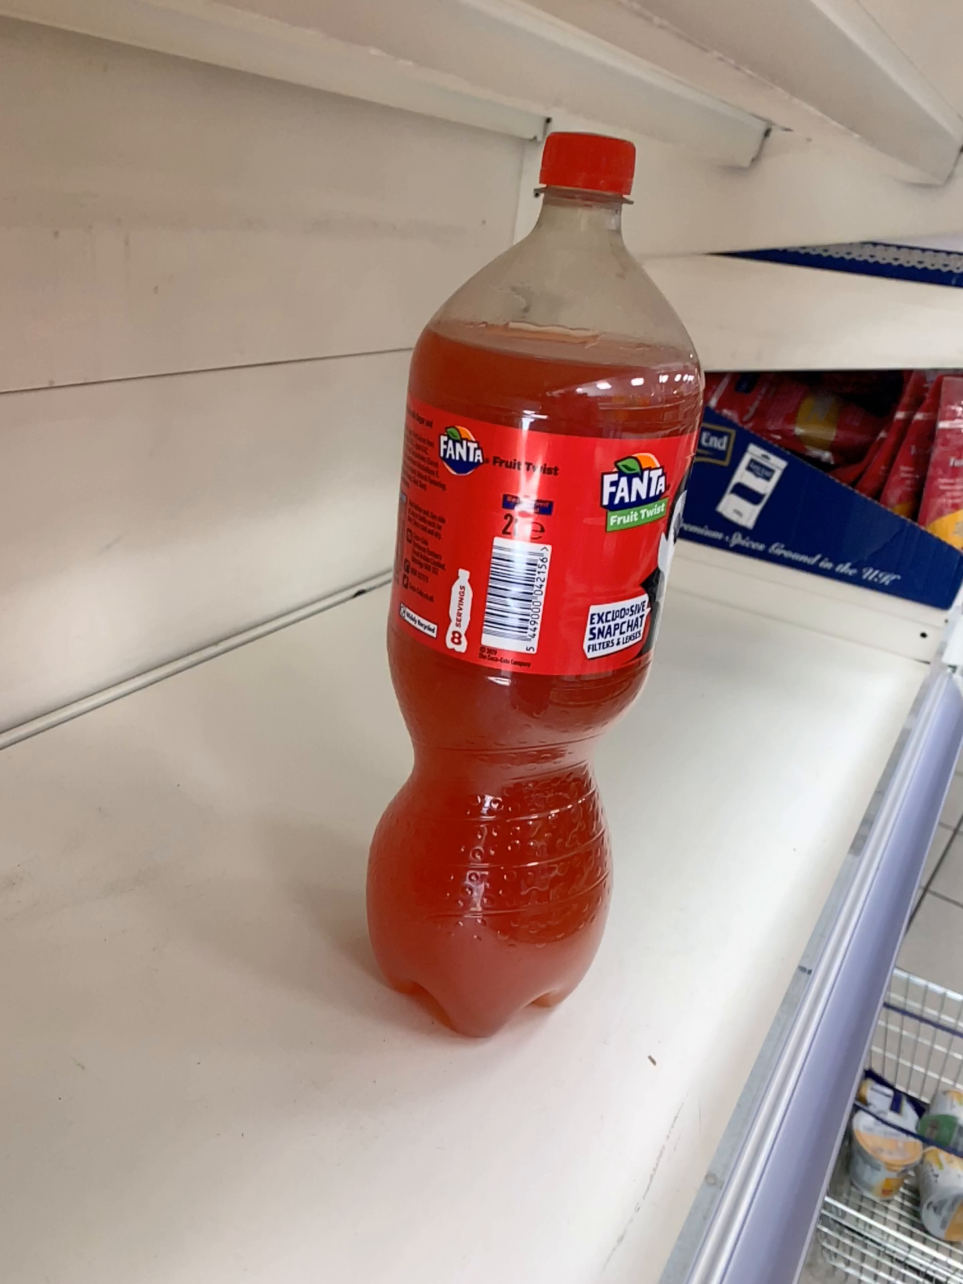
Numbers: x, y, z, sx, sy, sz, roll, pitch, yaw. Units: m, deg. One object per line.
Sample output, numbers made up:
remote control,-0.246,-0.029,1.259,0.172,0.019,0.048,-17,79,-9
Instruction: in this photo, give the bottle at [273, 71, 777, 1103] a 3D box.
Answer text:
bottle,0.009,-0.013,0.371,0.110,0.327,0.121,6,23,-3
